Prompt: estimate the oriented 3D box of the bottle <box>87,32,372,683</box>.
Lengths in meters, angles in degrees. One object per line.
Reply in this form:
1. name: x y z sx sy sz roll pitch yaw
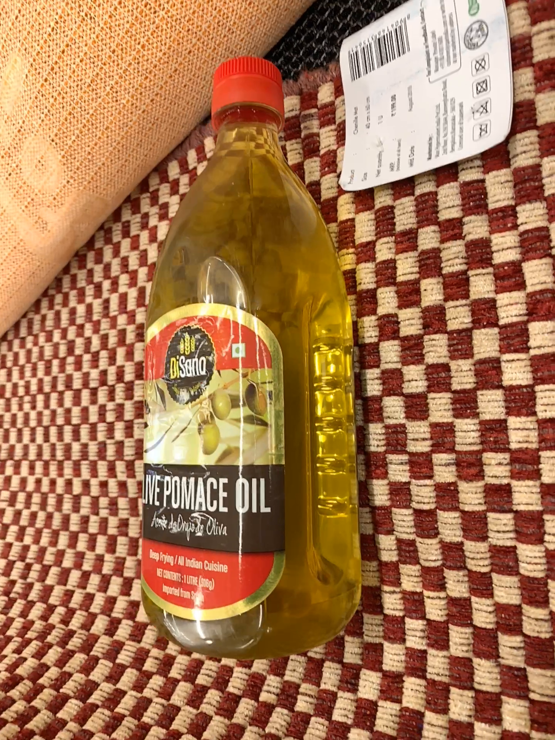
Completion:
1. bottle: -0.015 -0.005 0.239 0.080 0.080 0.210 -3 82 34
